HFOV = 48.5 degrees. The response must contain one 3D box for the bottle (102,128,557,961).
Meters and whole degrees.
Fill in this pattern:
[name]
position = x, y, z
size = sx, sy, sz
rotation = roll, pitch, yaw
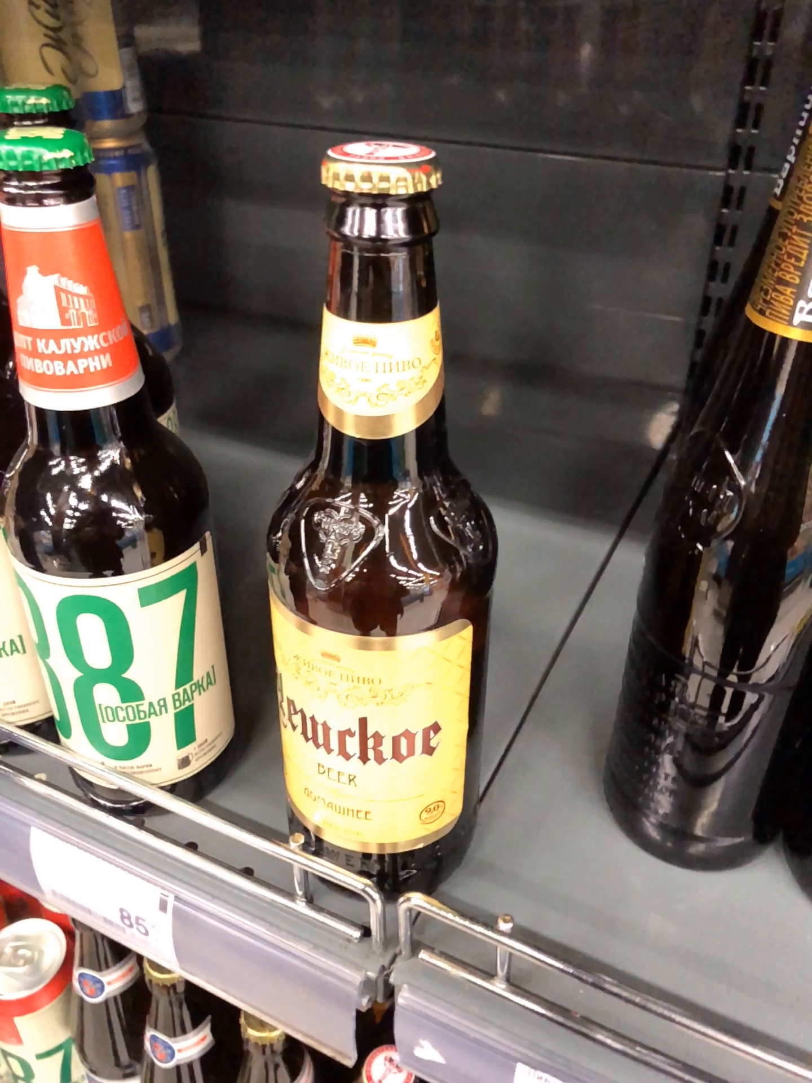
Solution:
[bottle]
position = -0.014, 0.011, 0.279
size = 0.080, 0.239, 0.080
rotation = 0, 33, 0
